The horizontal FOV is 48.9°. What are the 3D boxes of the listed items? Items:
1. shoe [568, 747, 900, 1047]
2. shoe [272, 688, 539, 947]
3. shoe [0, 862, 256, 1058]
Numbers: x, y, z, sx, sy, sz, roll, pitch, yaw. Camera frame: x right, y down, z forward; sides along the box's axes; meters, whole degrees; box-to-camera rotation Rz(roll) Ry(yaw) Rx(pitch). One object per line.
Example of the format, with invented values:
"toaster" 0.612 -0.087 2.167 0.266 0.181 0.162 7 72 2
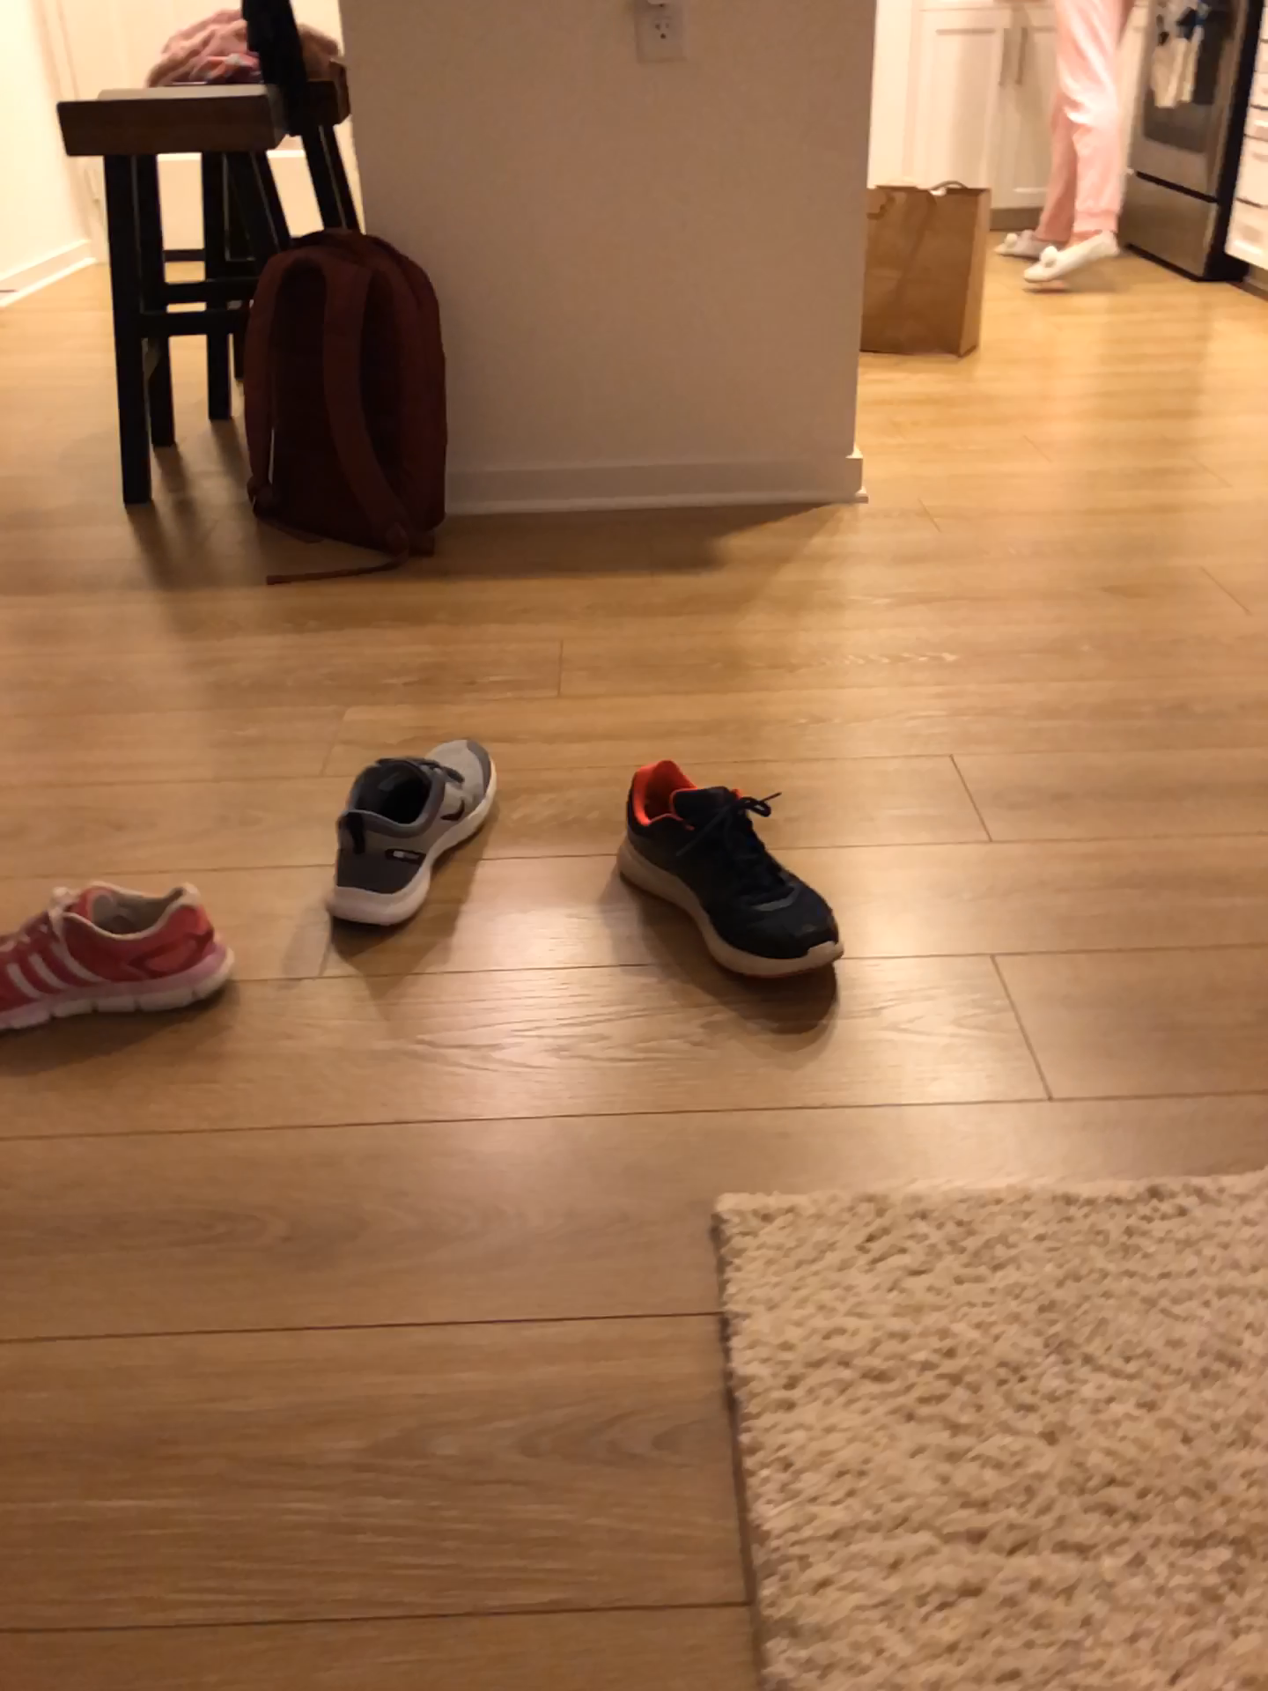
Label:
"shoe" 0.078 0.033 1.248 0.130 0.099 0.321 -19 34 -26
"shoe" -0.213 -0.039 1.382 0.130 0.099 0.322 7 32 15
"shoe" -0.487 0.097 1.207 0.280 0.099 0.121 -4 31 -2
